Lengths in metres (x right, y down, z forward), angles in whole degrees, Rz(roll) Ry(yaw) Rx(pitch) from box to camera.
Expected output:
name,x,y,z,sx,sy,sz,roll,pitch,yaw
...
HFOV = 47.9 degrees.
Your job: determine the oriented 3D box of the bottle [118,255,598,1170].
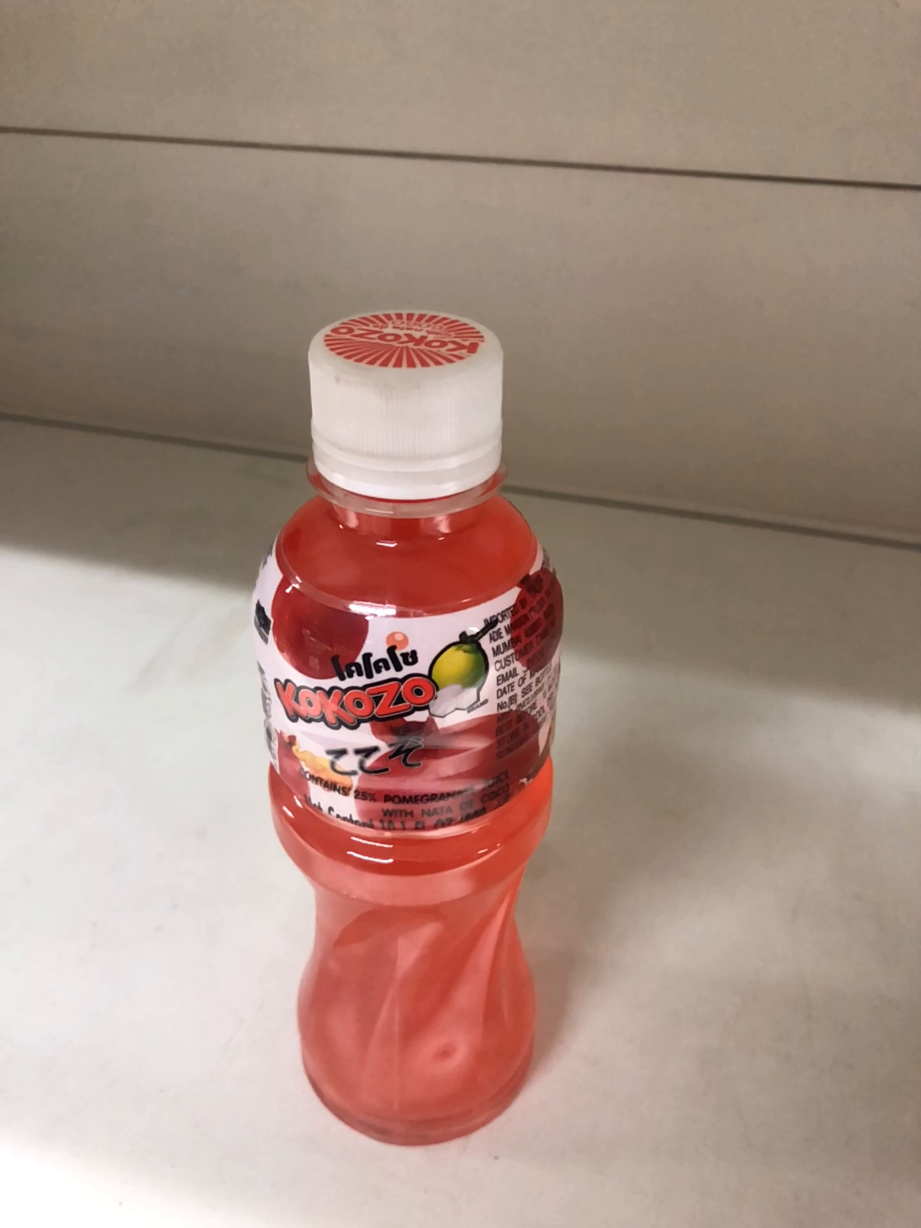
name,x,y,z,sx,sy,sz,roll,pitch,yaw
bottle,-0.012,0.027,0.194,0.060,0.169,0.050,5,32,6
